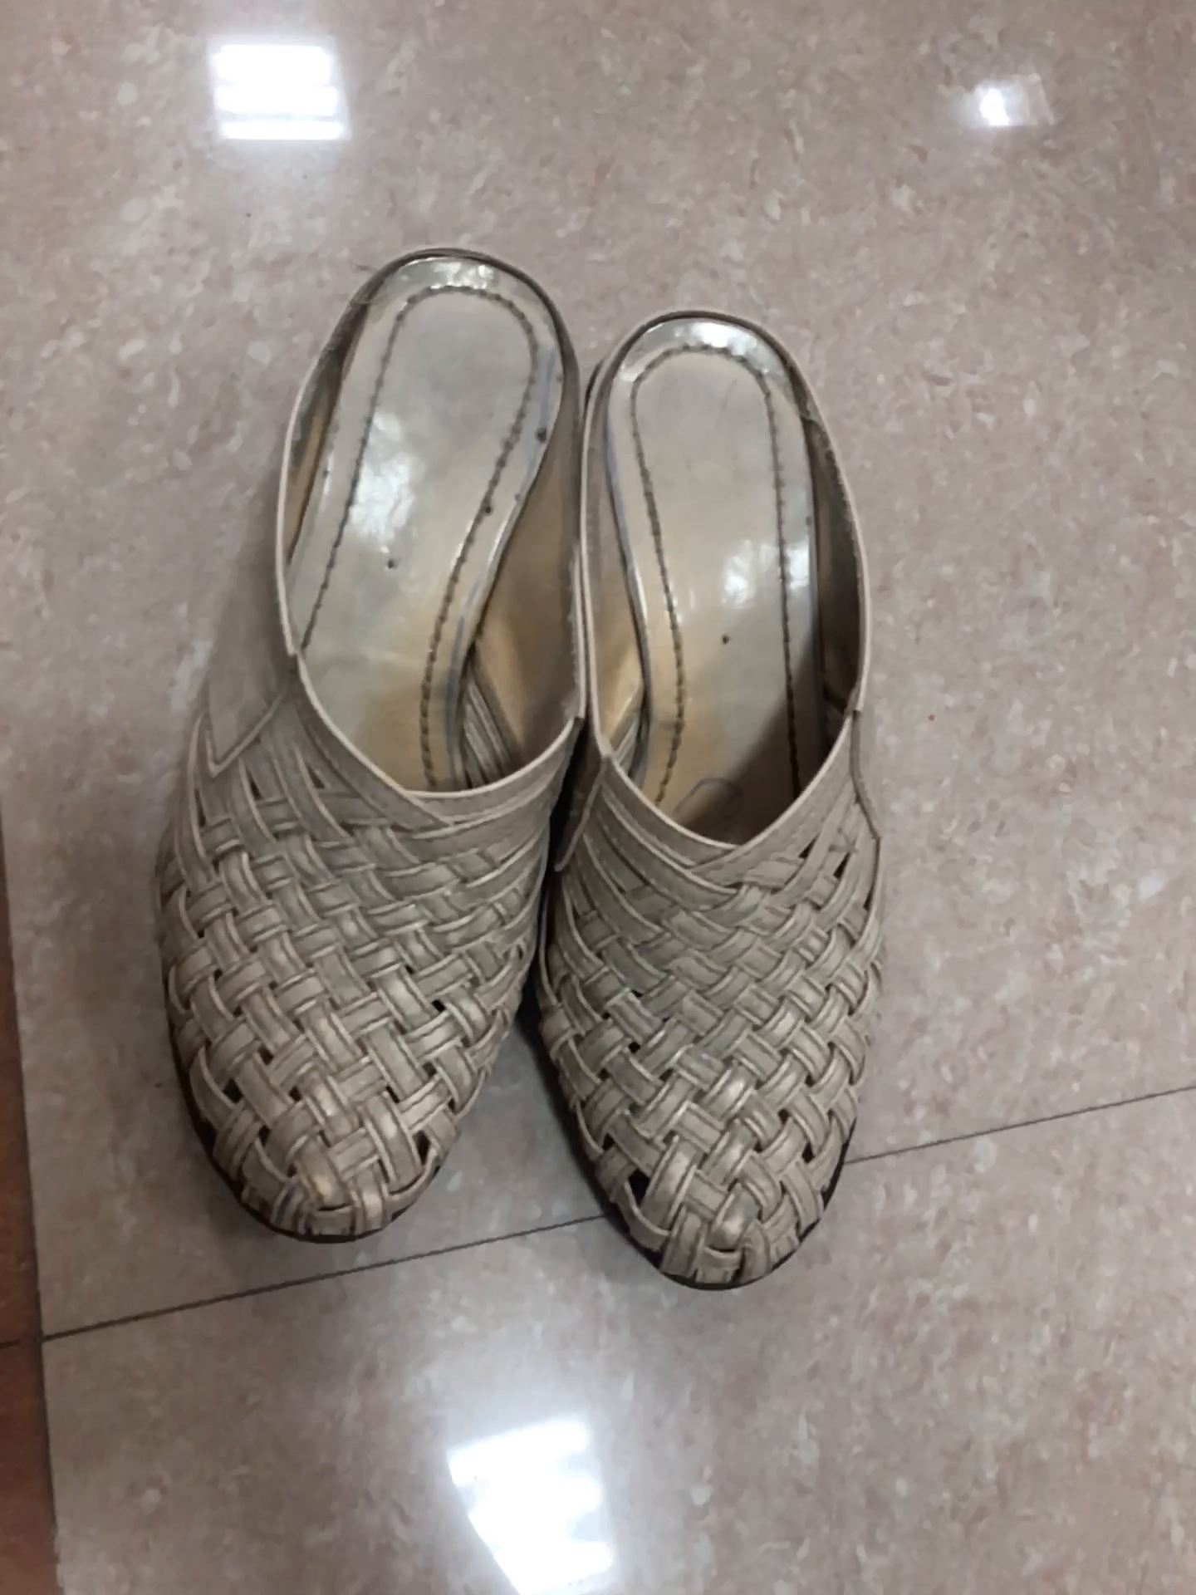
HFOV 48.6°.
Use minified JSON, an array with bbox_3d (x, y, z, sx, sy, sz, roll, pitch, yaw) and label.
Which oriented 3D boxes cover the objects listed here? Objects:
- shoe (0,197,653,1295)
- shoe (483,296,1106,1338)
[{"bbox_3d":[-0.054,-0.010,0.311,0.100,0.085,0.225,8,72,-8],"label":"shoe"},{"bbox_3d":[0.033,0.002,0.320,0.100,0.085,0.221,-2,74,-11],"label":"shoe"}]
